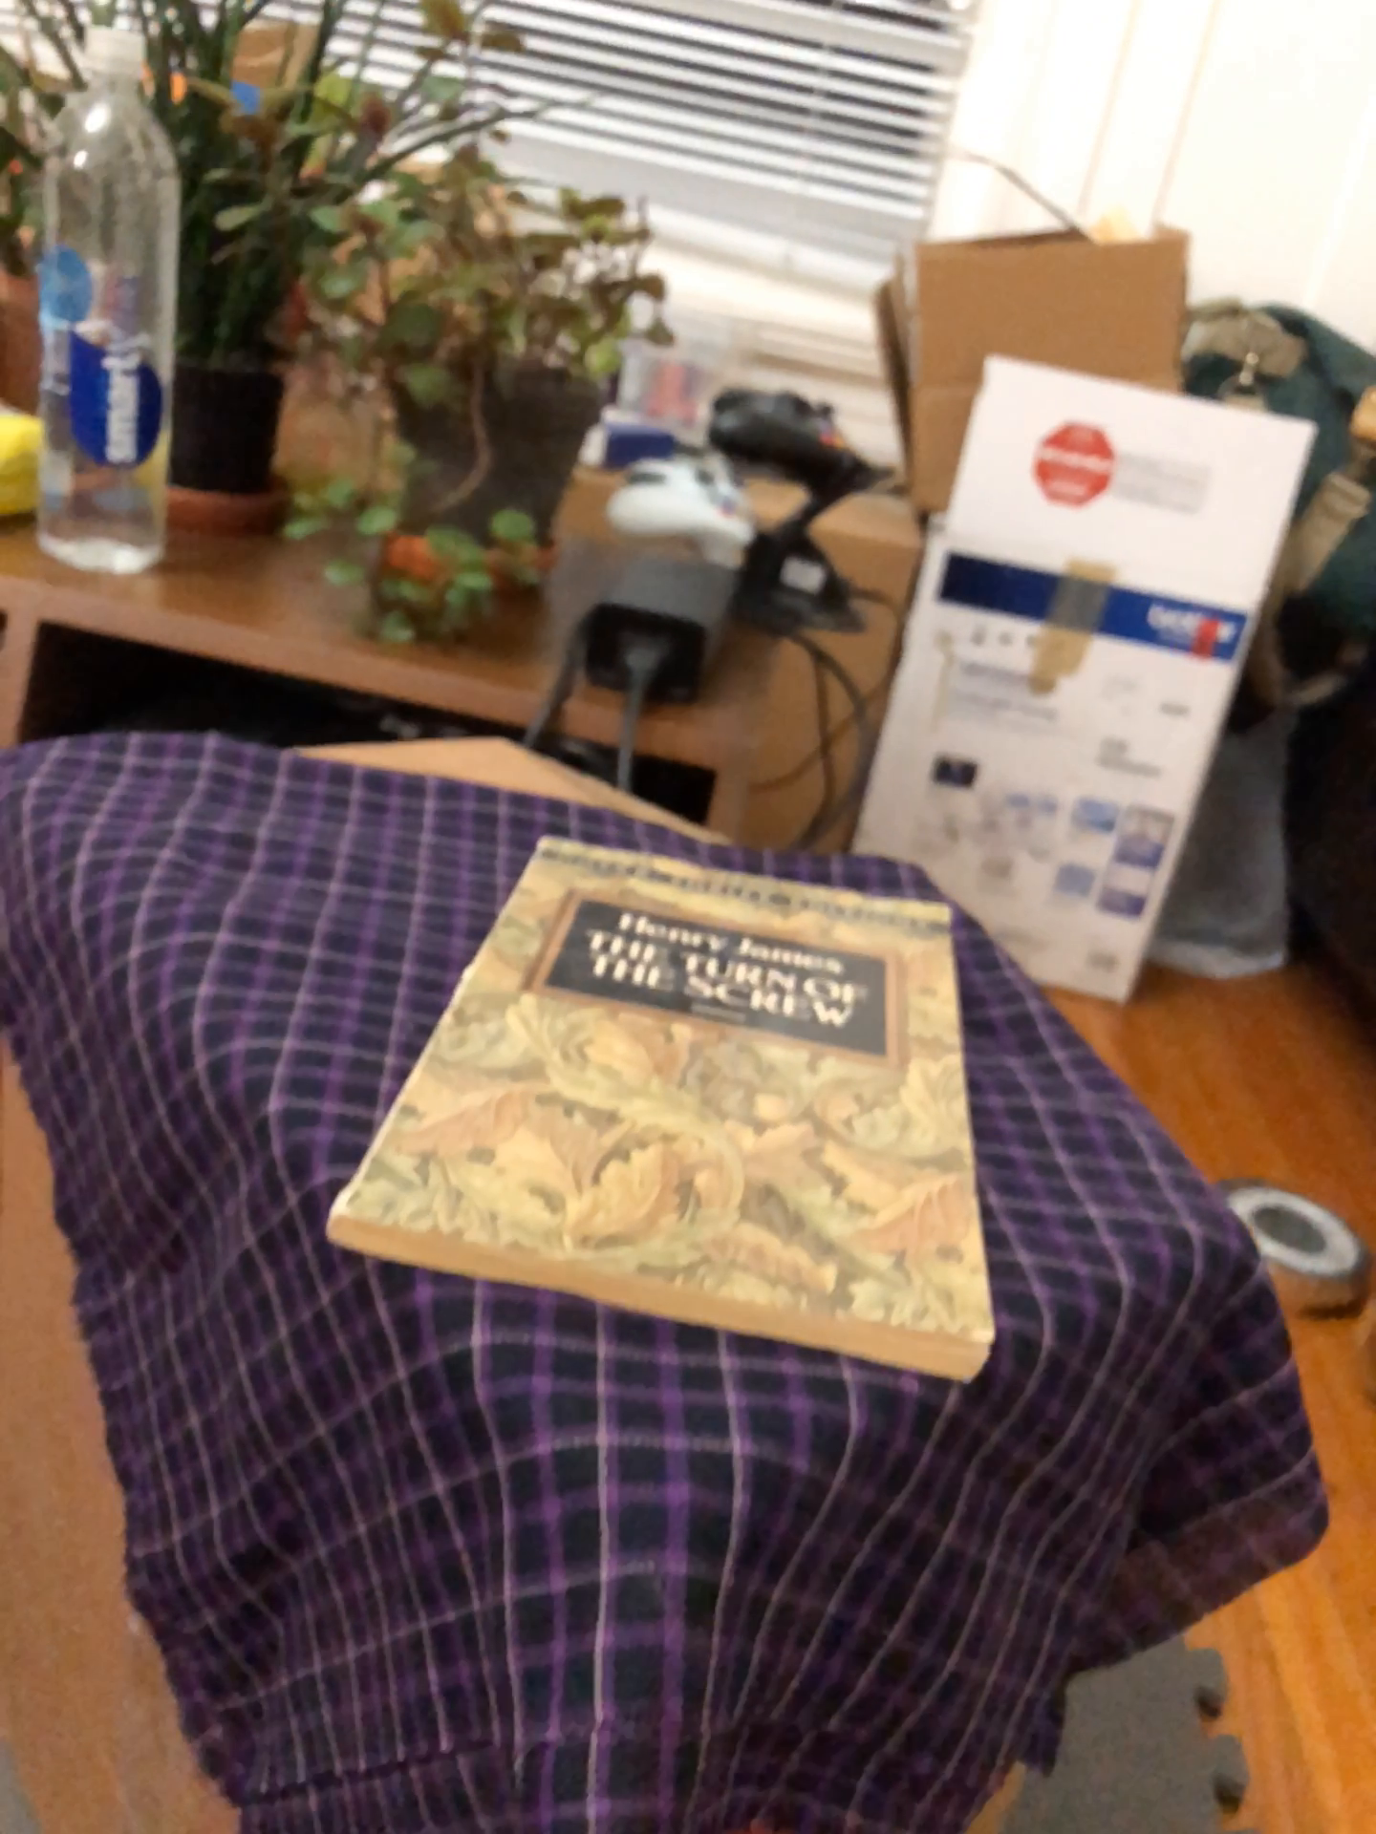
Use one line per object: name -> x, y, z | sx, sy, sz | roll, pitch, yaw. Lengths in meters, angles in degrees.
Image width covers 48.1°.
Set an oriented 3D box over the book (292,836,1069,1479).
book -> 0.009, 0.038, 0.376 | 0.140, 0.010, 0.221 | 12, 24, 1
